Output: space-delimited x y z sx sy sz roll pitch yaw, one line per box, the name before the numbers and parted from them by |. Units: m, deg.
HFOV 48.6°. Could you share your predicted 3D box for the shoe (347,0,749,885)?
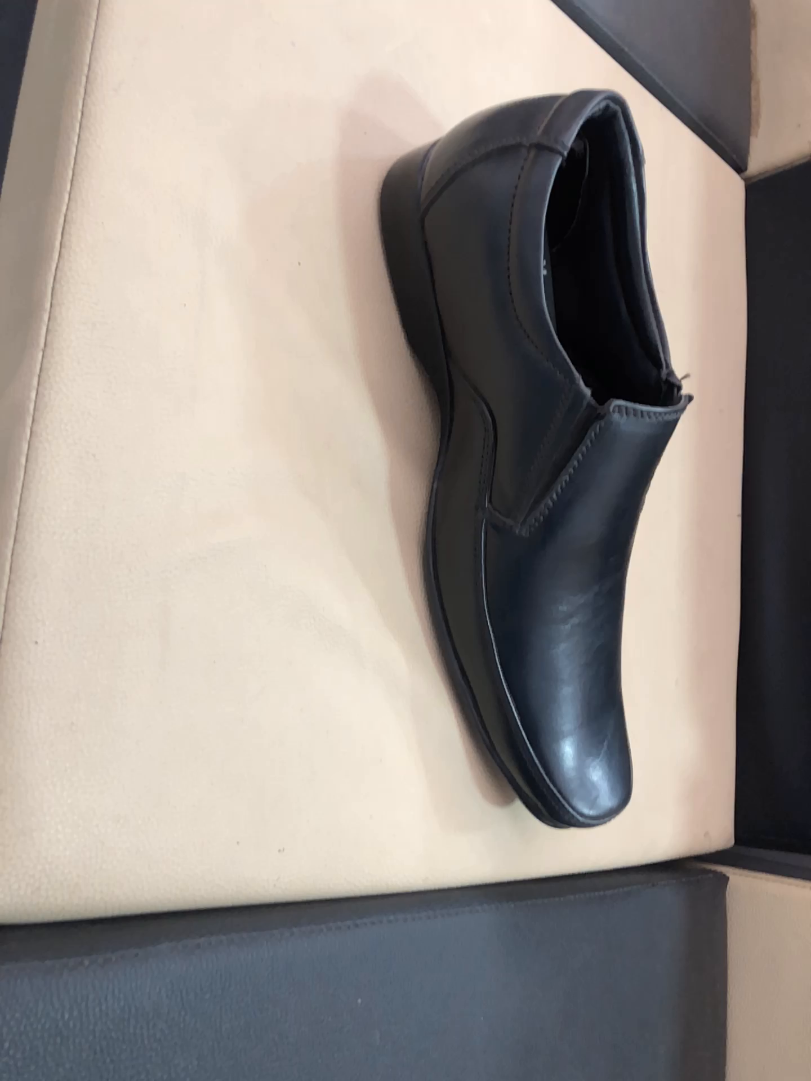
shoe | 0.060 -0.034 0.364 0.101 0.079 0.300 -10 93 -44
